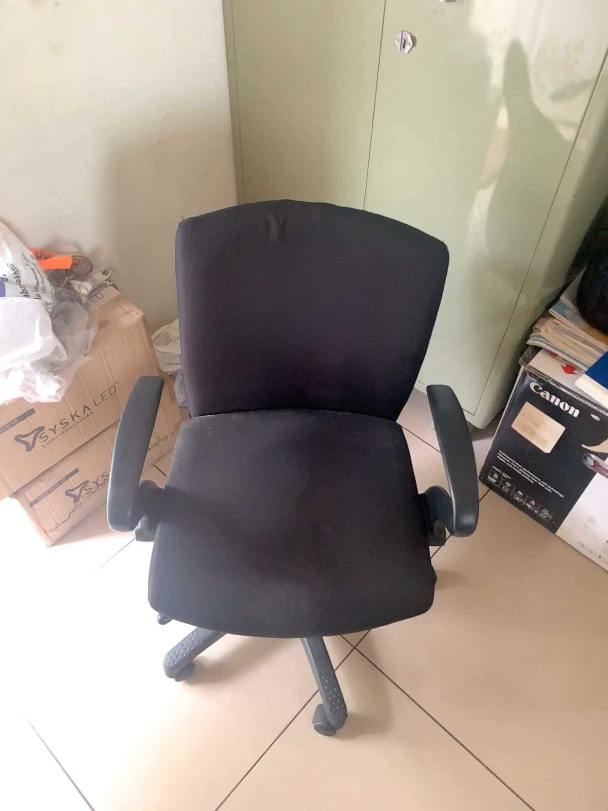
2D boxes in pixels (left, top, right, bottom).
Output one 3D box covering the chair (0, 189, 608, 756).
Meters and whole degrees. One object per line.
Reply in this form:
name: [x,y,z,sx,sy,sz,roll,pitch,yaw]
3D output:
chair: [0.006,0.187,1.219,0.700,0.927,0.702,-1,50,-2]
